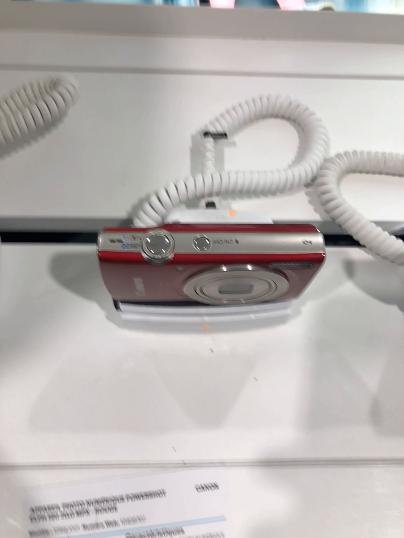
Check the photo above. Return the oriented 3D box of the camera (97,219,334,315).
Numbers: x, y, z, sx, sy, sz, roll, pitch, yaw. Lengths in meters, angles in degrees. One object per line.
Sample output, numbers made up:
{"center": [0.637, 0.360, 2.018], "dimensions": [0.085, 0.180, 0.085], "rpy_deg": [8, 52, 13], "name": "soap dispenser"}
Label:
{"center": [0.004, 0.001, 0.203], "dimensions": [0.093, 0.050, 0.022], "rpy_deg": [-1, 64, -3], "name": "camera"}
